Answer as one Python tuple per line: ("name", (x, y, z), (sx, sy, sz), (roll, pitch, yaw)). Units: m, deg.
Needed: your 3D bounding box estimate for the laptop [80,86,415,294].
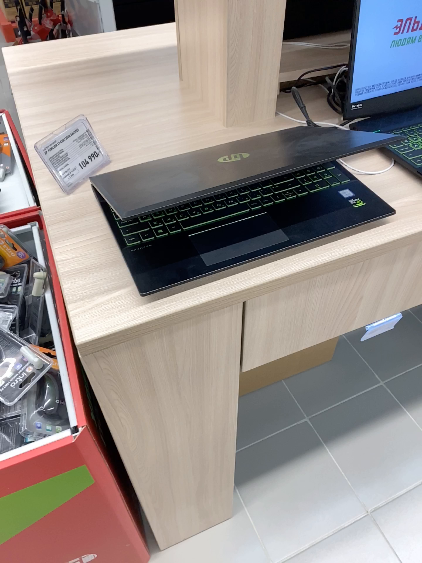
("laptop", (0.038, -0.149, 0.591), (0.366, 0.086, 0.242), (-17, 49, -16))
